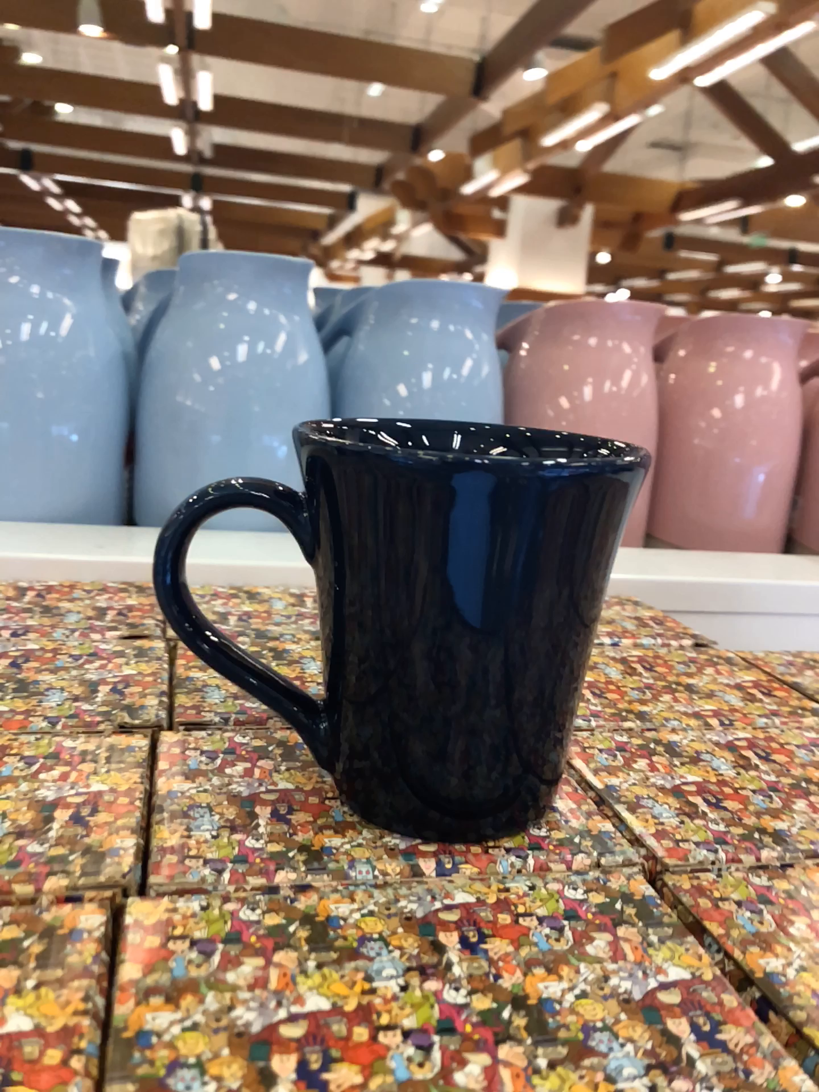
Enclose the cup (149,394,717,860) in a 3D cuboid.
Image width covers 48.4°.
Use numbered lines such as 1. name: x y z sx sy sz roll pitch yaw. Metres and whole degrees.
1. cup: -0.005 0.012 0.244 0.120 0.090 0.100 2 12 -16
